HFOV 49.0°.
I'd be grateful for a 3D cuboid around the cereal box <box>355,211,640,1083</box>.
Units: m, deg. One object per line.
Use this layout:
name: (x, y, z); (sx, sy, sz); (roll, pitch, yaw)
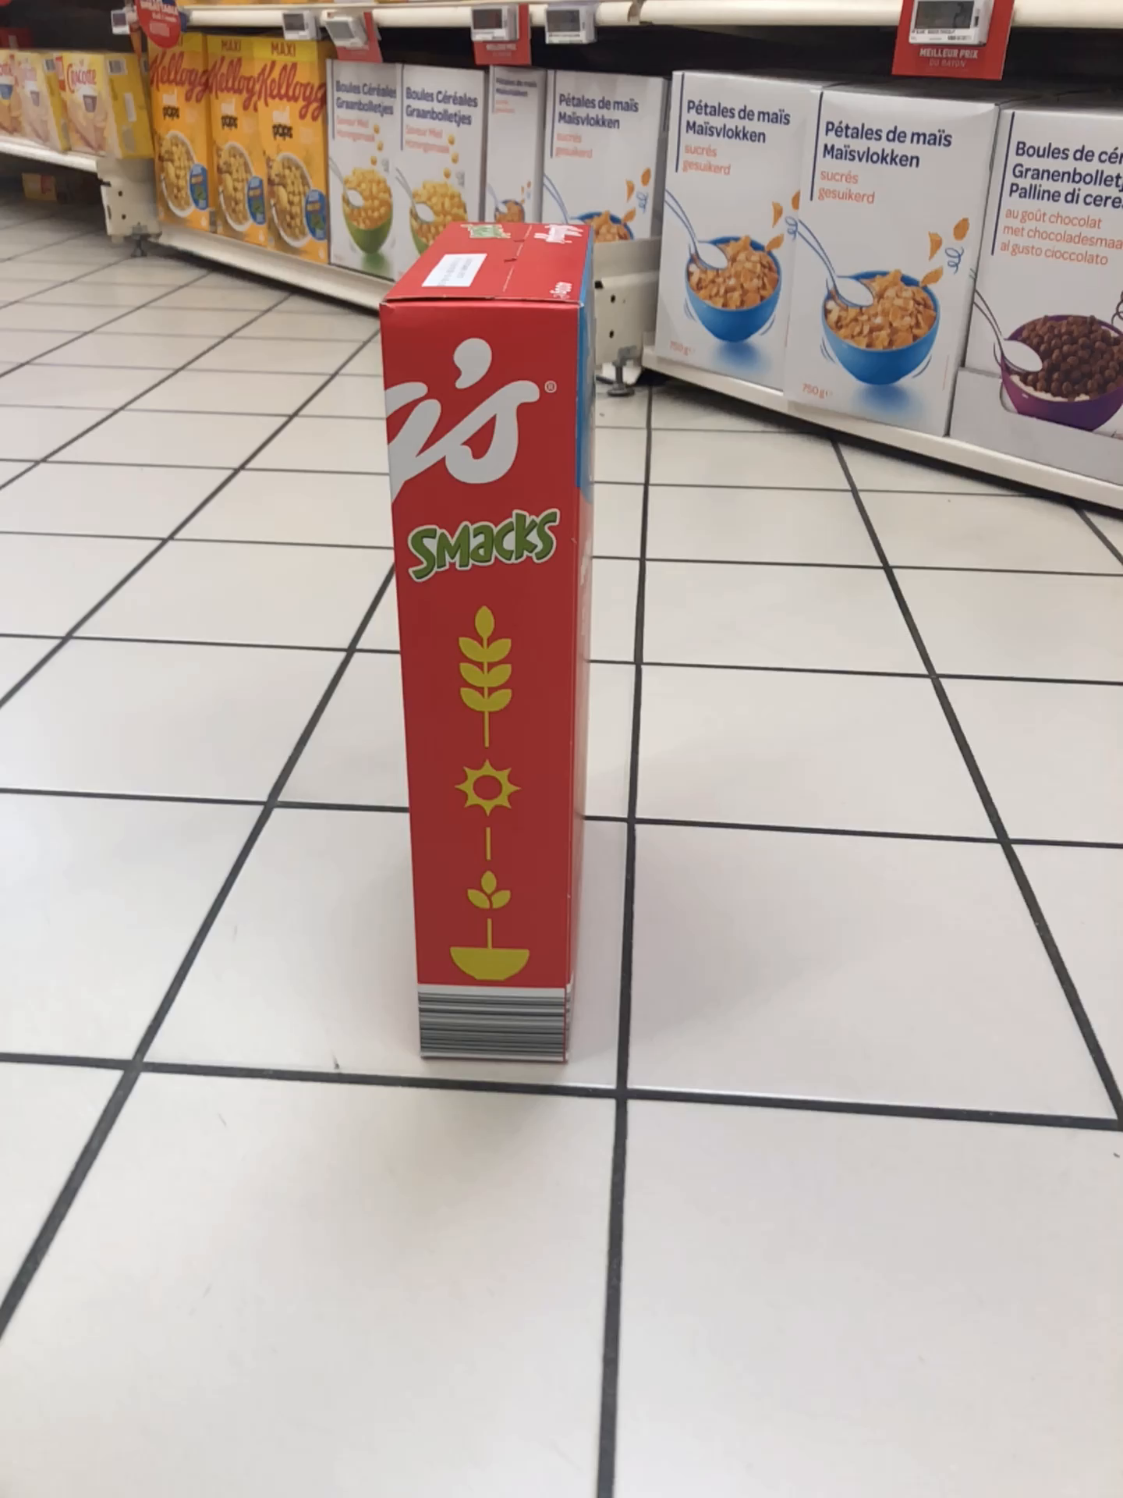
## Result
cereal box: (-0.014, -0.048, 0.505); (0.080, 0.298, 0.201); (1, 29, 2)
